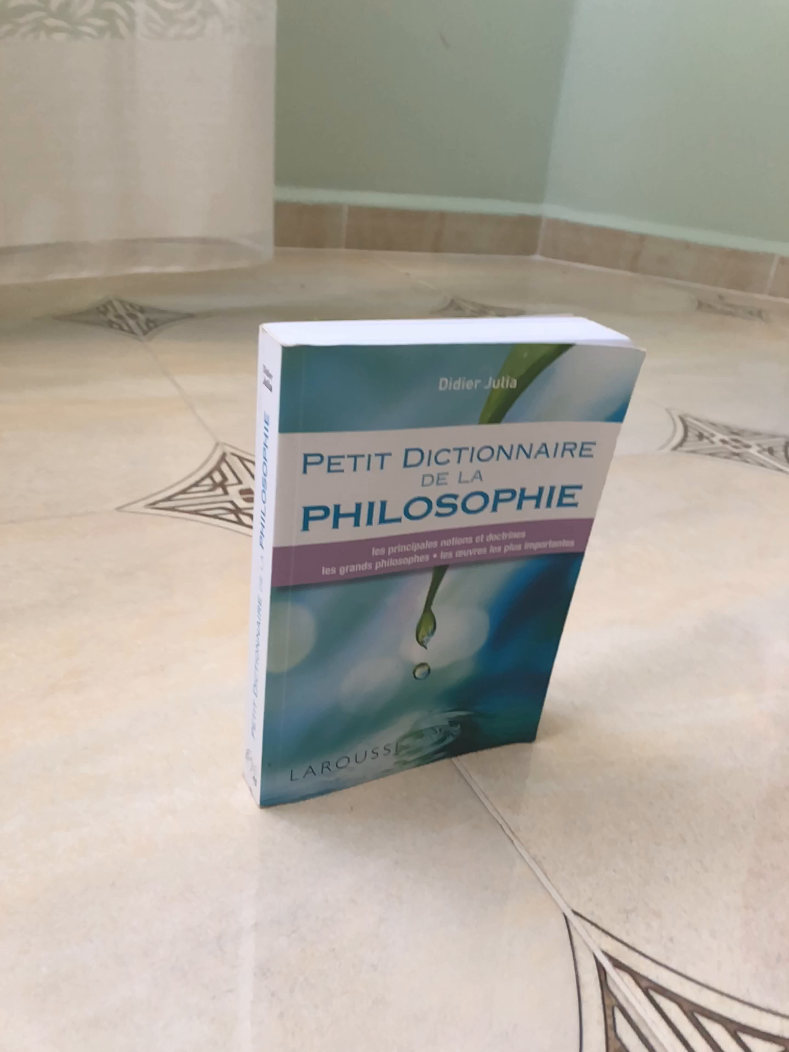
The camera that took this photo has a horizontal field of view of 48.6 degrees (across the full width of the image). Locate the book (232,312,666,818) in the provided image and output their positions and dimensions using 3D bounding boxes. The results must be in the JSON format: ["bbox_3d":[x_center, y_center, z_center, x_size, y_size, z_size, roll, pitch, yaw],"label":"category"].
[{"bbox_3d":[0.014,0.016,0.334,0.140,0.185,0.035,-7,32,-24],"label":"book"}]
